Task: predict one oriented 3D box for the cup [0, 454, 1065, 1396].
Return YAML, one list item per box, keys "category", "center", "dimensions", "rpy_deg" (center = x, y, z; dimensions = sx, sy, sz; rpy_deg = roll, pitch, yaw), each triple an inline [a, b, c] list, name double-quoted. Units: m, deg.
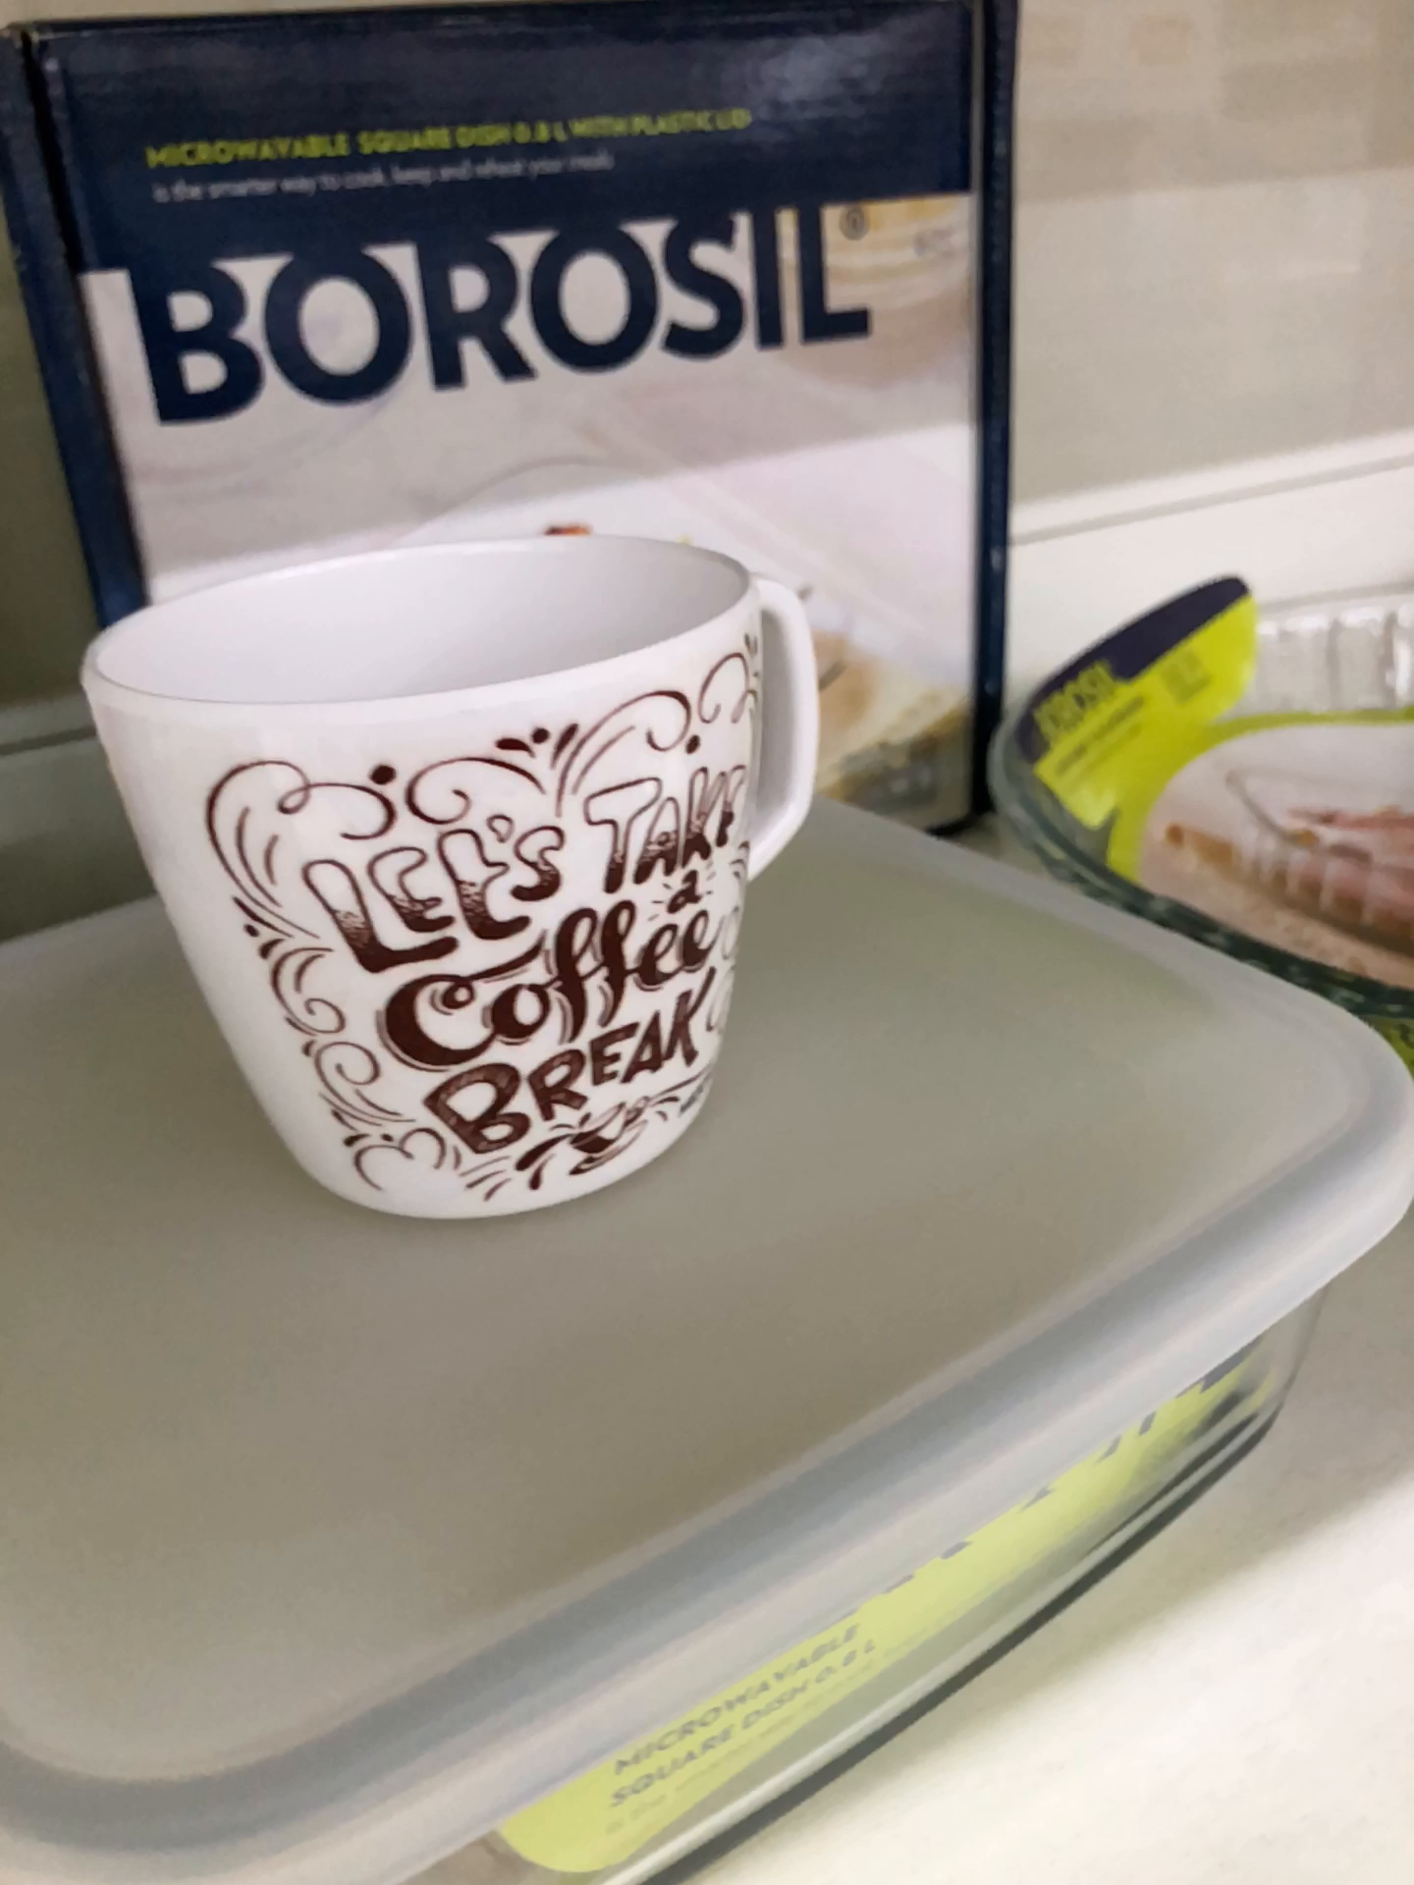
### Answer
- category: "cup"
  center: [-0.016, -0.014, 0.195]
  dimensions: [0.100, 0.070, 0.070]
  rpy_deg: [-24, 31, -35]
